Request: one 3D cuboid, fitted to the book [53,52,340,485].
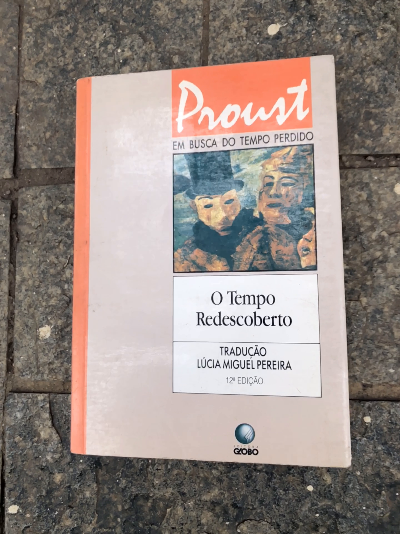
[{"bbox_3d":[-0.004,-0.001,0.226,0.134,0.023,0.199,-1,85,9],"label":"book"}]
